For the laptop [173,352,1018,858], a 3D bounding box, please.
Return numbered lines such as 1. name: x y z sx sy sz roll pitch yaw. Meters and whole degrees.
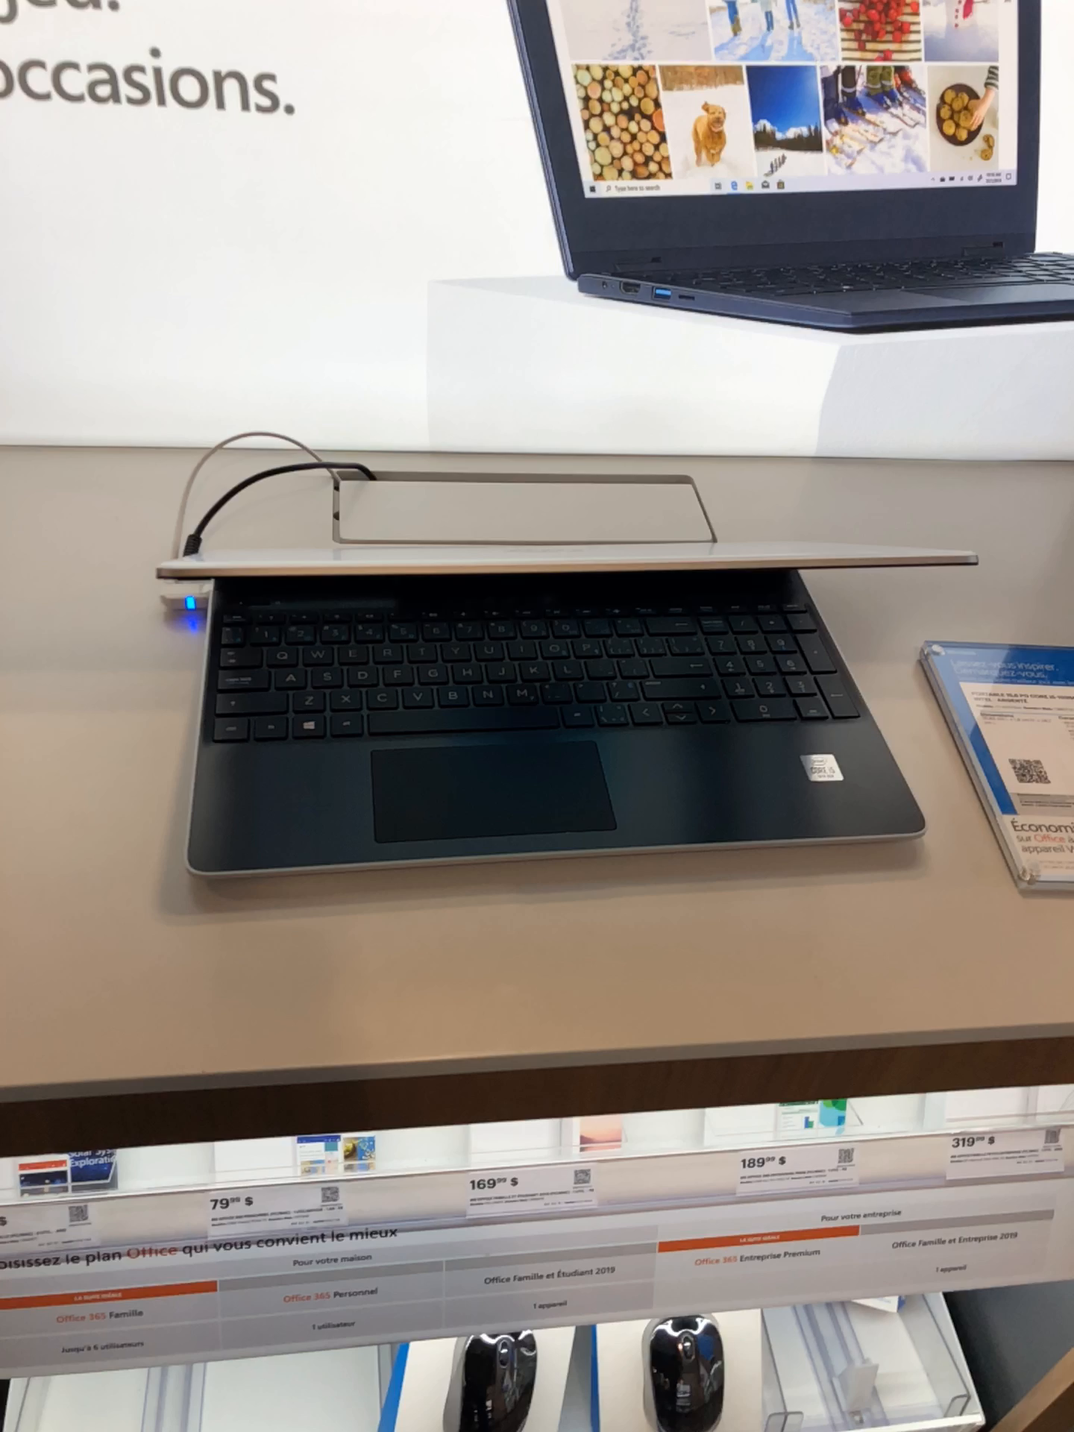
1. laptop: 0.010 -0.069 0.598 0.346 0.131 0.230 -2 43 -9
